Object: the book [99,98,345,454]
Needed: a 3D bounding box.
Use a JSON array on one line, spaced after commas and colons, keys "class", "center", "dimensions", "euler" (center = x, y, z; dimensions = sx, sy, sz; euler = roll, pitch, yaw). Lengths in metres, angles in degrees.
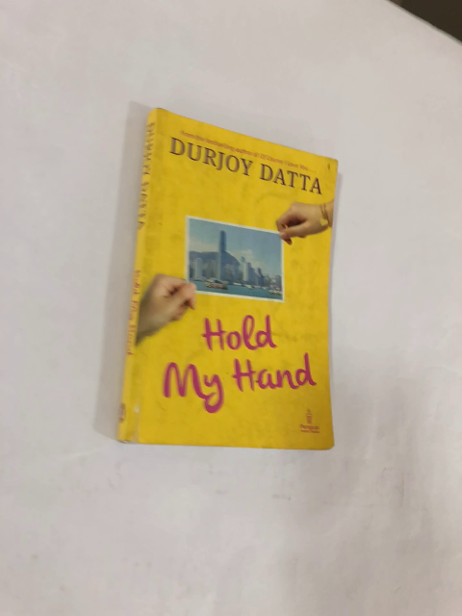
[{"class": "book", "center": [0.004, -0.014, 0.305], "dimensions": [0.141, 0.020, 0.190], "euler": [9, 76, -25]}]
